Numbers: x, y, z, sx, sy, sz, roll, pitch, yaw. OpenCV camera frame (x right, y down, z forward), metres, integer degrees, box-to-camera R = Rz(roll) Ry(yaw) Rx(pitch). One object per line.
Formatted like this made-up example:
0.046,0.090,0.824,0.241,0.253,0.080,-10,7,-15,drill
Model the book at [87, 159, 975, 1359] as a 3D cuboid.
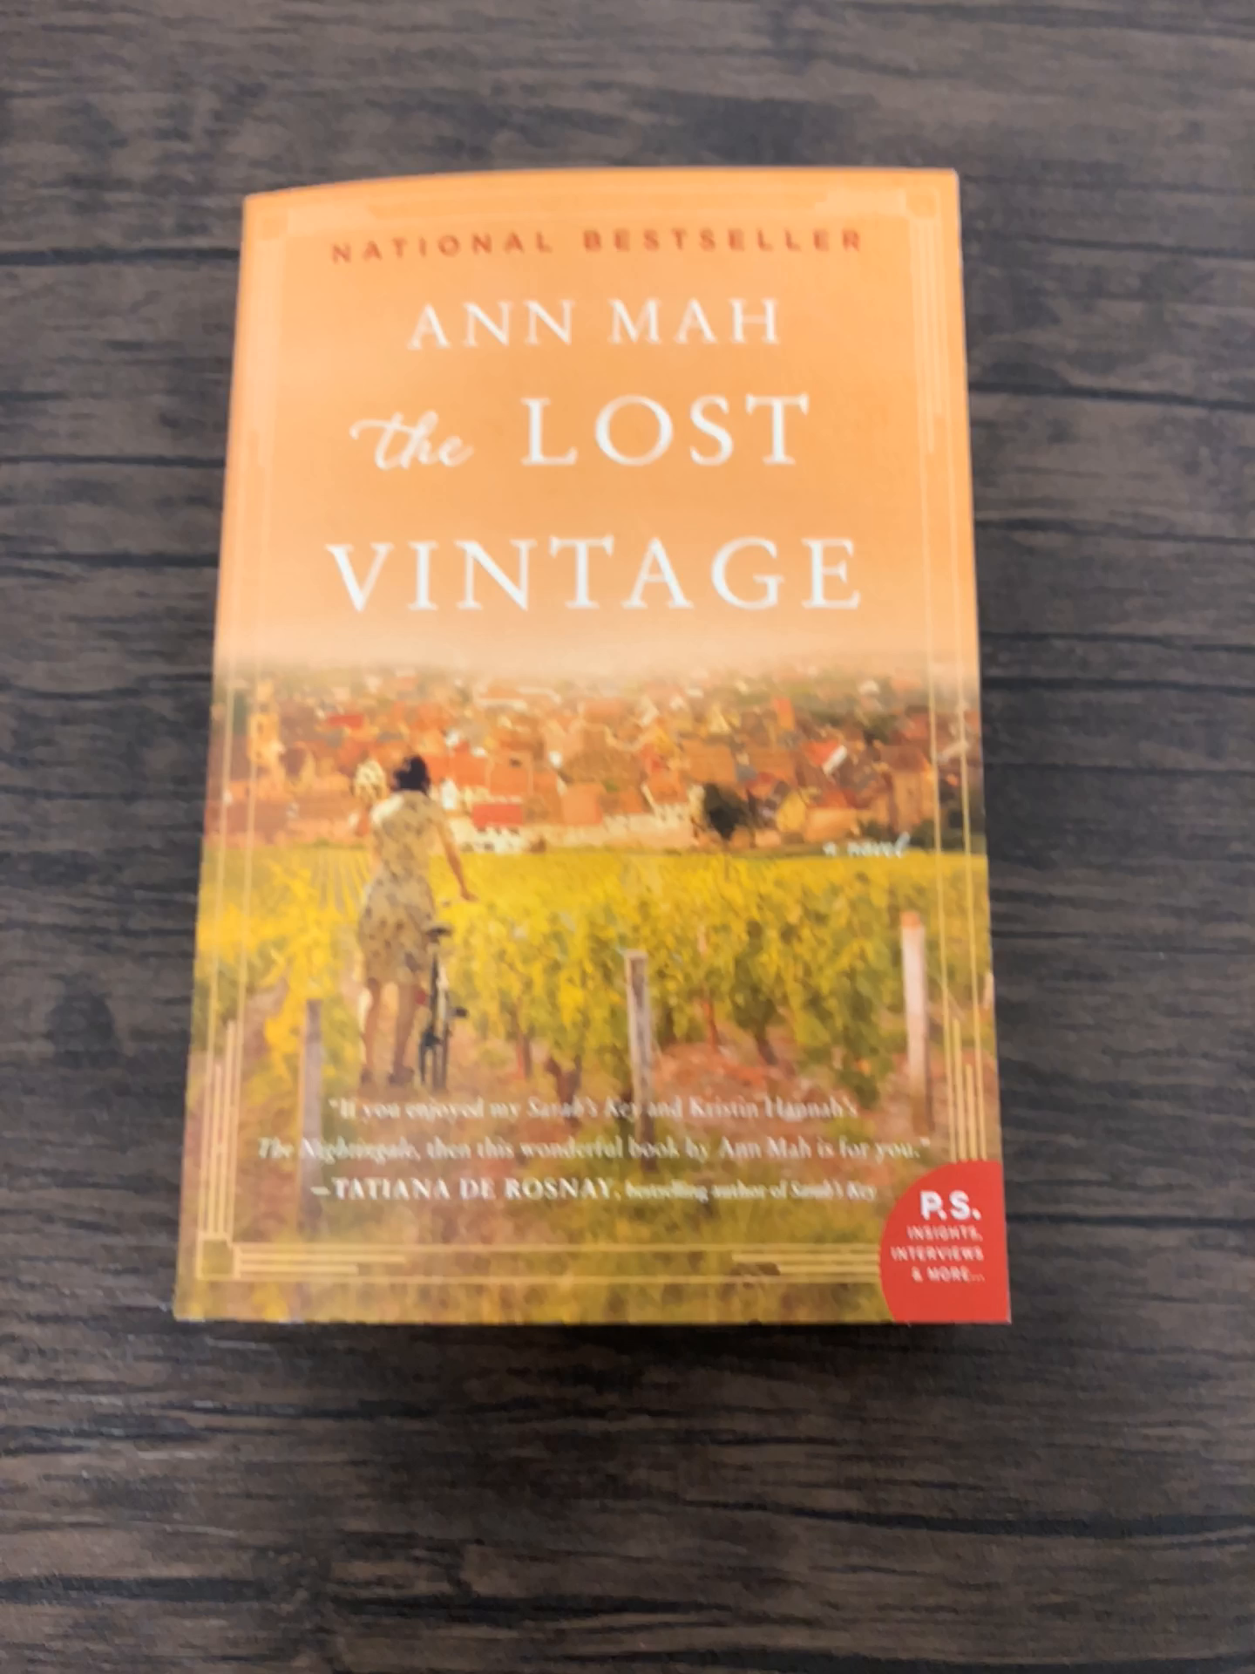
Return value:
-0.014,-0.017,0.250,0.134,0.040,0.200,0,80,1,book
